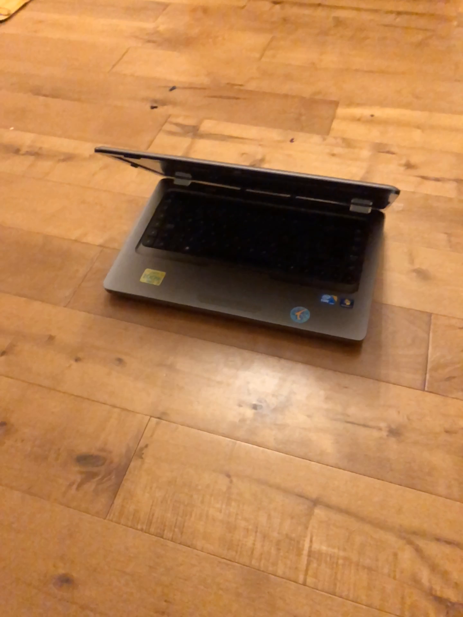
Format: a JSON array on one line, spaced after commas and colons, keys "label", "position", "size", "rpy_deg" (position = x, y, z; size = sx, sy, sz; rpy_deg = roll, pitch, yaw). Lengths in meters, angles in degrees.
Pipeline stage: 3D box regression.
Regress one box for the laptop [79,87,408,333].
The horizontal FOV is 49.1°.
[{"label": "laptop", "position": [0.028, -0.138, 0.676], "size": [0.346, 0.164, 0.224], "rpy_deg": [11, 55, 11]}]
